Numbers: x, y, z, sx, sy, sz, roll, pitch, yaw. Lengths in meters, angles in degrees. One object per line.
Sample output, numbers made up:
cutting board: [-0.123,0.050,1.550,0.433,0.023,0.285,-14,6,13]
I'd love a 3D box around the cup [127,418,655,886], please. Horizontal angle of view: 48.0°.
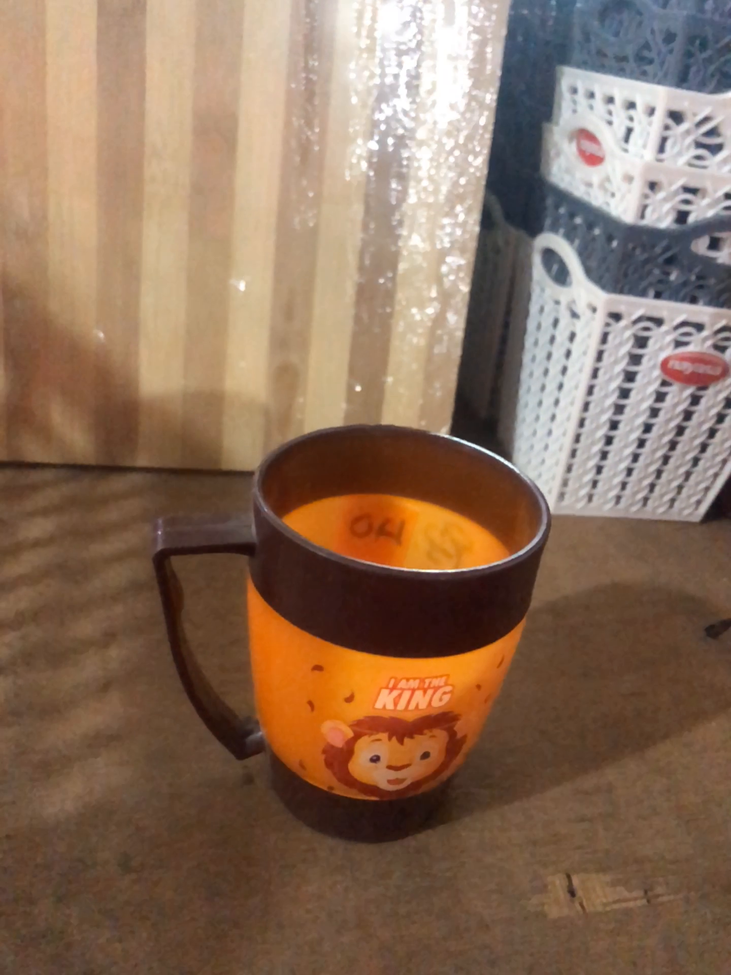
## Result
cup: [-0.001,0.039,0.200,0.100,0.089,0.060,2,31,-10]
